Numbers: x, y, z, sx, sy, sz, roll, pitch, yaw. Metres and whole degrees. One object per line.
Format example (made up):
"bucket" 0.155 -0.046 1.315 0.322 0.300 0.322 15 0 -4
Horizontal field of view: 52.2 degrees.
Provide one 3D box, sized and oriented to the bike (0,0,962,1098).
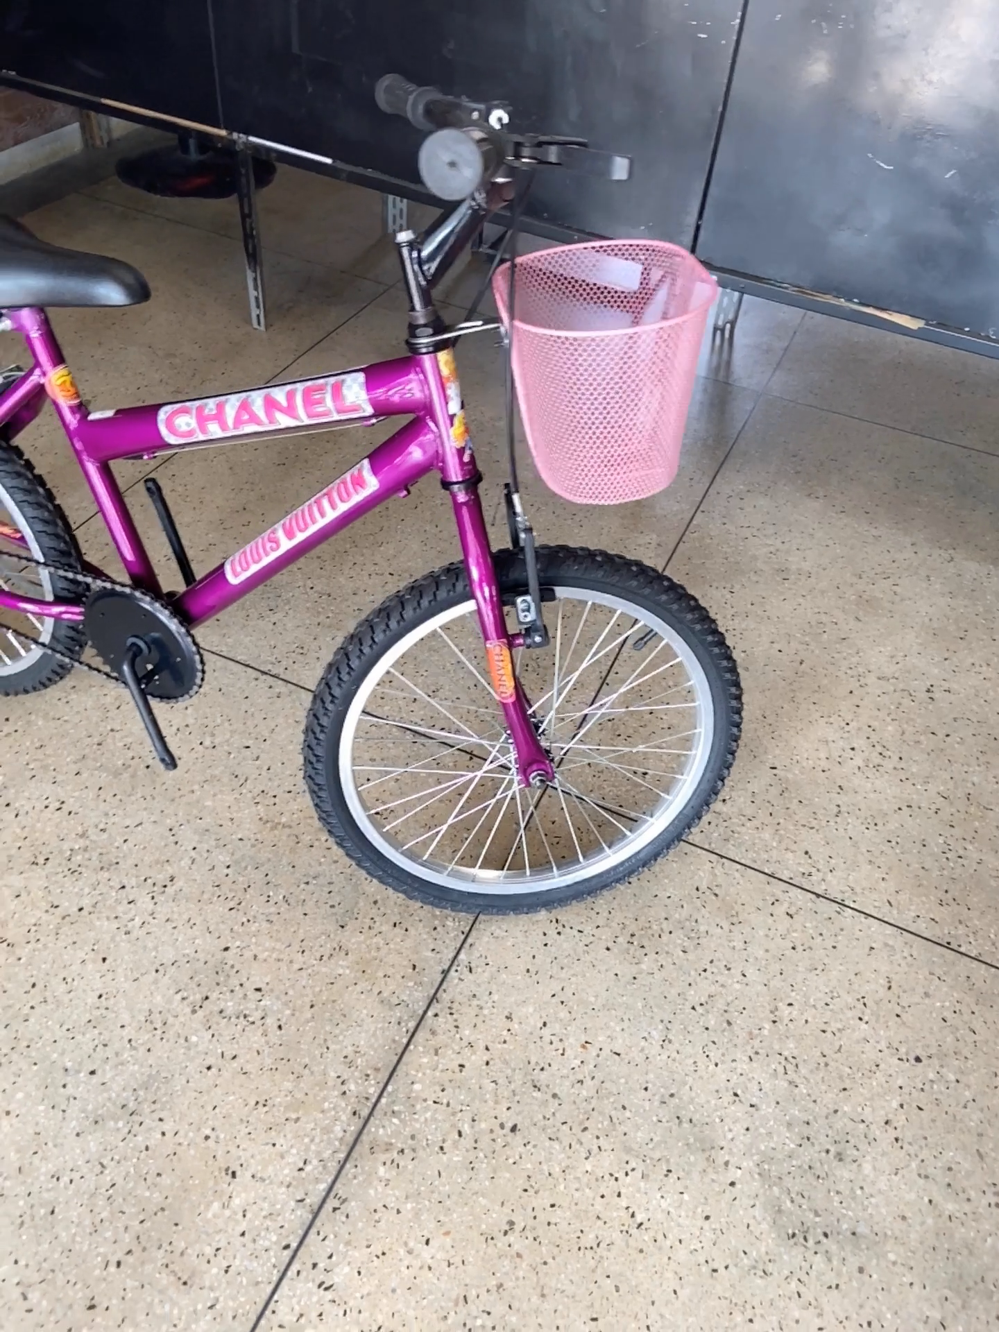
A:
"bike" -0.328 -0.203 1.118 1.261 0.933 0.618 15 45 9
